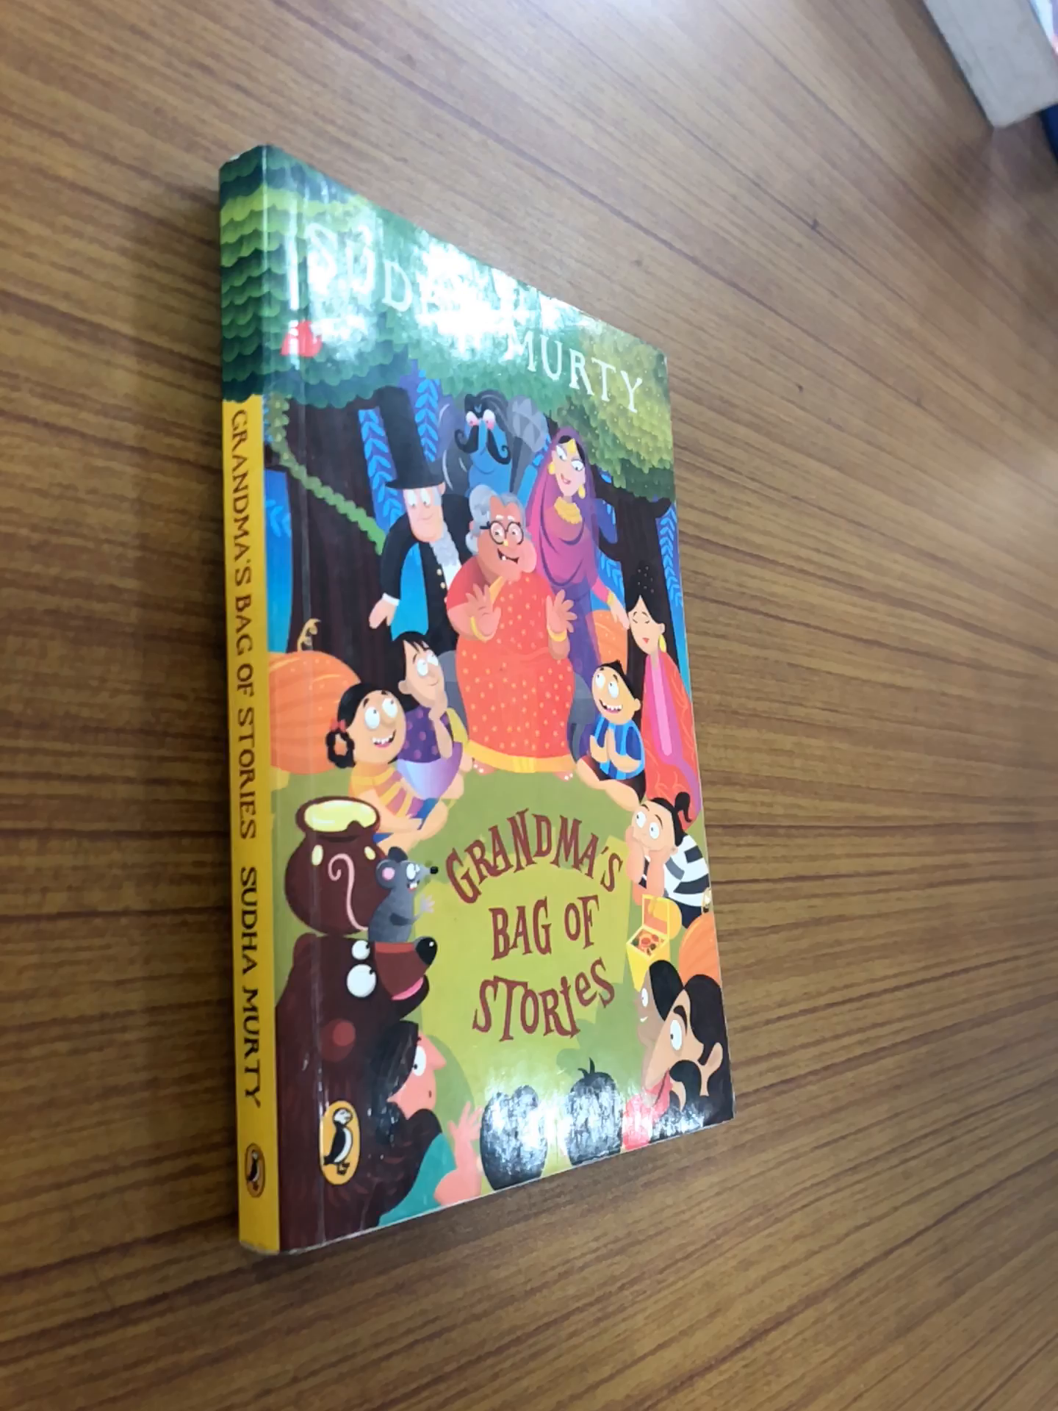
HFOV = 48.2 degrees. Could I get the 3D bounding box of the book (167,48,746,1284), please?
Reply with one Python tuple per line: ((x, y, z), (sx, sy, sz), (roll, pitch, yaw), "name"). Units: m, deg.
((-0.010, -0.008, 0.255), (0.131, 0.030, 0.210), (6, 77, -48), "book")
